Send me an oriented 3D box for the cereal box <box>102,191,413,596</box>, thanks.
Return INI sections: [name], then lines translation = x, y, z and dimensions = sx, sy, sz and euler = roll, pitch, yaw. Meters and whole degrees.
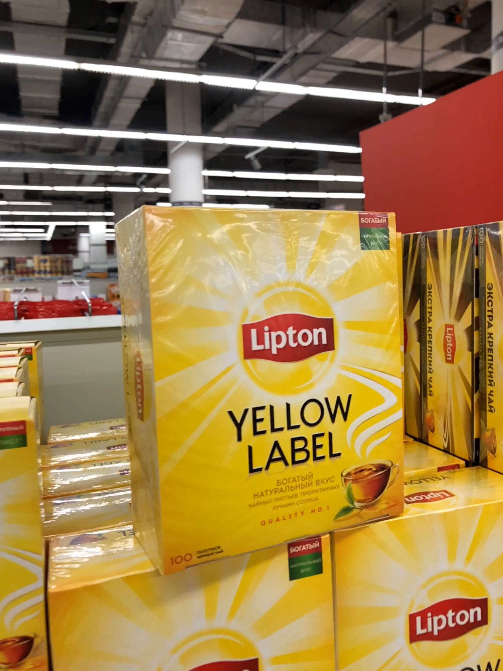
[cereal box]
translation = 0.004, 0.019, 0.292
dimensions = 0.140, 0.170, 0.070
euler = -4, 3, -25
